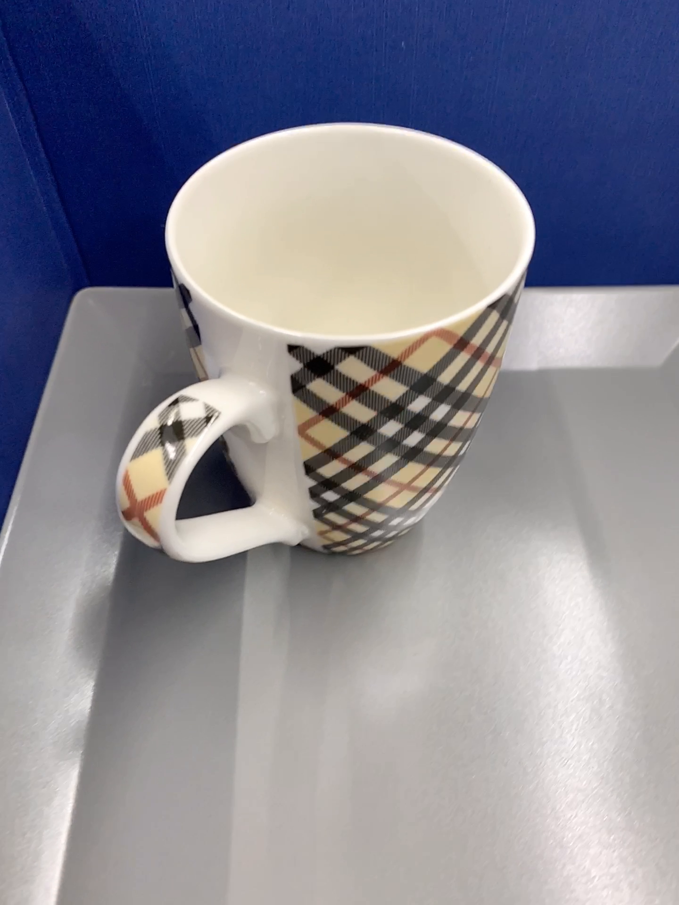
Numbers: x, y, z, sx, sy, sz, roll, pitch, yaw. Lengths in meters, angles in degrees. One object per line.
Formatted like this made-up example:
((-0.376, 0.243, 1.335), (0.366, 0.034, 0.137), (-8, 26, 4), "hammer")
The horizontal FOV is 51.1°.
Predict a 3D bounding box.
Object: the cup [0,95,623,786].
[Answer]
((-0.007, -0.008, 0.187), (0.091, 0.104, 0.121), (28, 55, 23), "cup")
